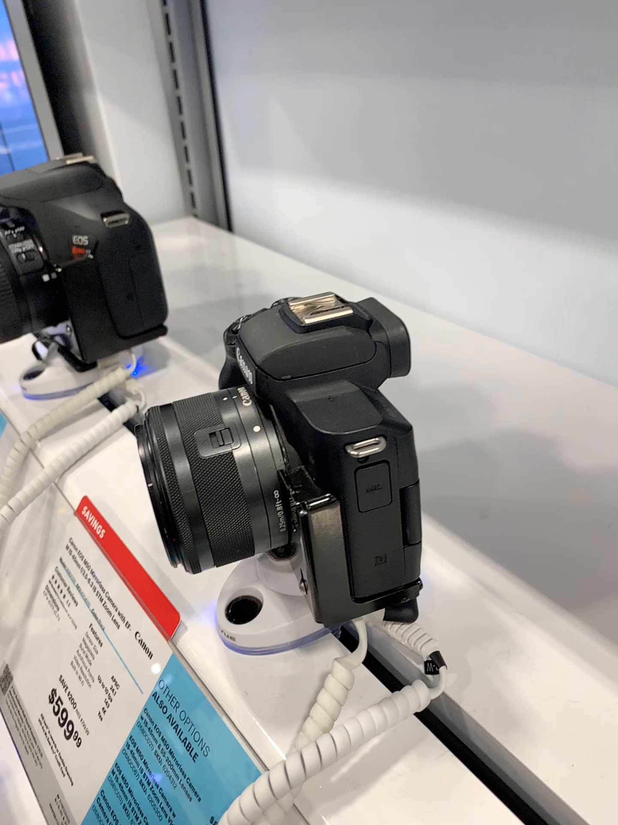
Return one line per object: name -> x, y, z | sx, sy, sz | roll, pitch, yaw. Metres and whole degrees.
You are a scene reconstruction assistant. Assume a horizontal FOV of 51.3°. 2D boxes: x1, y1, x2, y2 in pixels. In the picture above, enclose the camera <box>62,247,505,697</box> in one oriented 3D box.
camera -> -0.016, 0.007, 0.231 | 0.110, 0.080, 0.121 | -16, 34, -16
